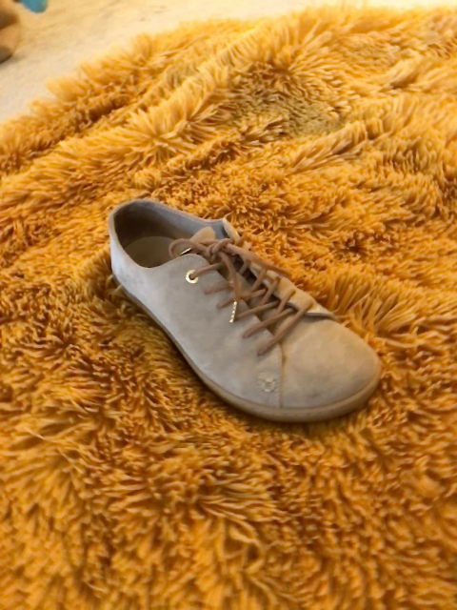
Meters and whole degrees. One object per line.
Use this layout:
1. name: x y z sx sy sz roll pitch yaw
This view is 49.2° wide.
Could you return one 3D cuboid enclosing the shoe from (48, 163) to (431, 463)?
1. shoe: -0.006 -0.015 0.361 0.258 0.070 0.100 29 55 32
